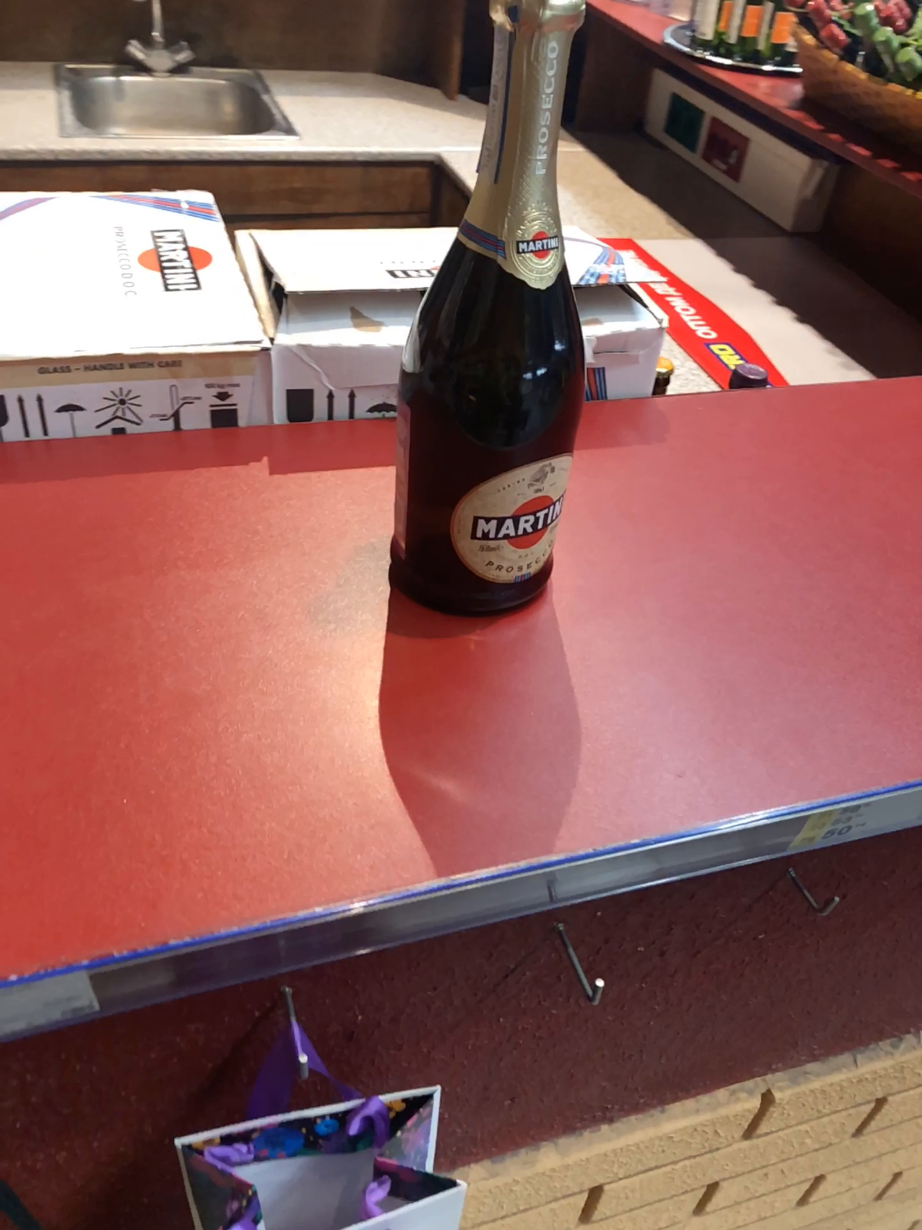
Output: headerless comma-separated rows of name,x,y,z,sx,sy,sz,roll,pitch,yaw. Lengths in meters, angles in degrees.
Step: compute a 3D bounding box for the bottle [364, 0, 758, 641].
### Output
bottle,0.026,-0.142,0.465,0.100,0.302,0.090,-18,46,-27
